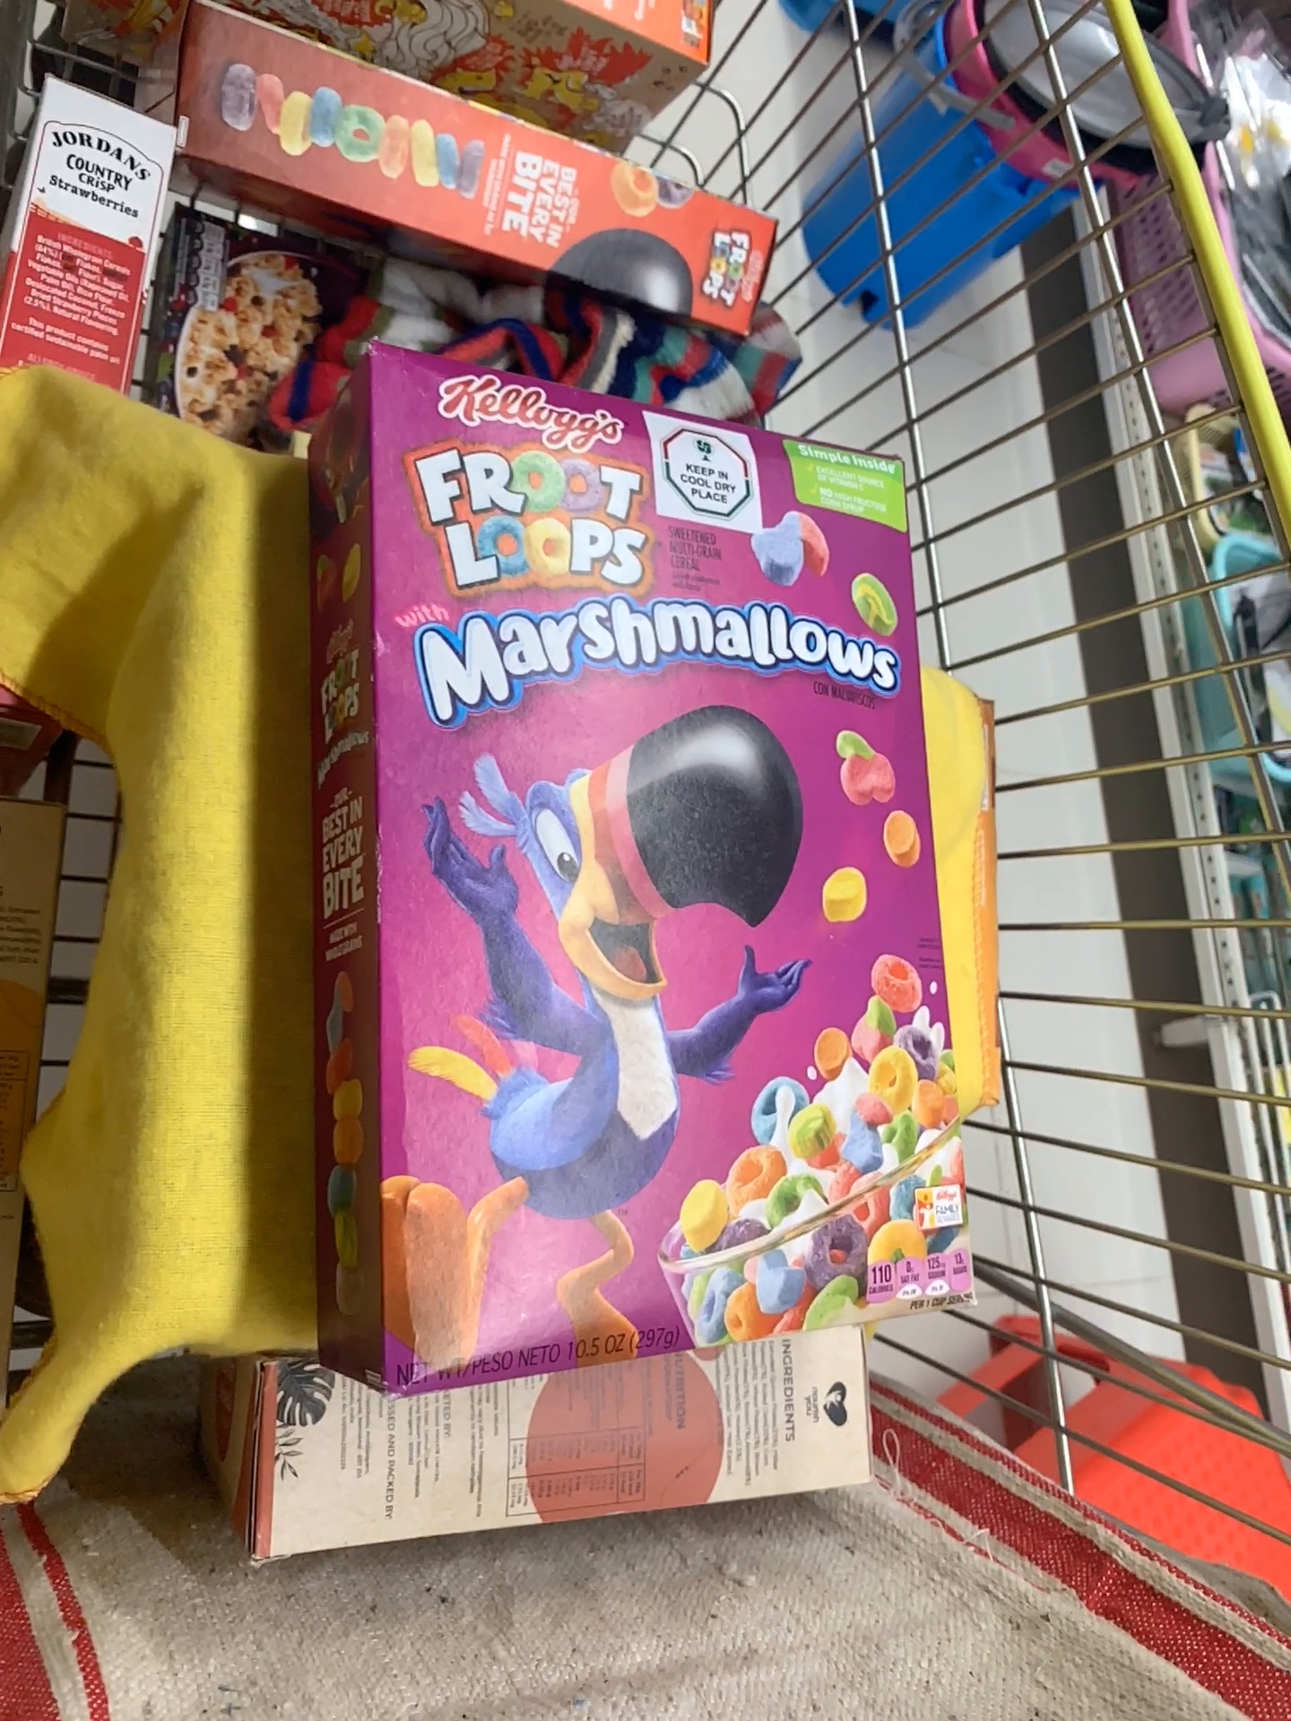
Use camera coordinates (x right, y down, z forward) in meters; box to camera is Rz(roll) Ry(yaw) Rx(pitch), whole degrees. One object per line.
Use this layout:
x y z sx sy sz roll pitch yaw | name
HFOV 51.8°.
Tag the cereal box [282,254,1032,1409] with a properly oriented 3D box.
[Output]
0.001 -0.007 0.380 0.191 0.070 0.270 3 78 -29 | cereal box
